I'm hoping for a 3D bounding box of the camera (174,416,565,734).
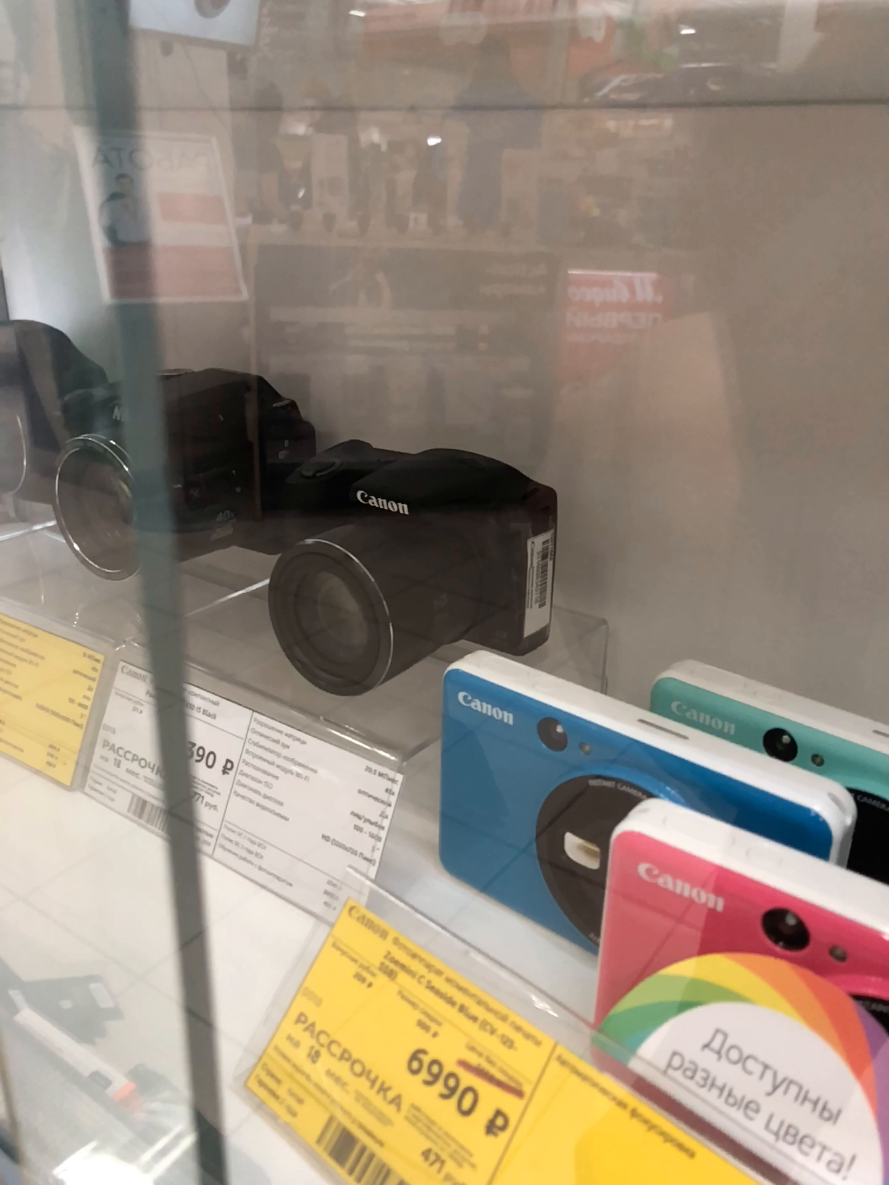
[{"bbox_3d":[-0.025,-0.014,0.356,0.100,0.070,0.093,17,28,34],"label":"camera"}]

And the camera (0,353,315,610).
[{"bbox_3d":[-0.125,-0.054,0.418,0.100,0.073,0.093,17,28,34],"label":"camera"}]

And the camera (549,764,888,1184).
[{"bbox_3d":[0.081,0.096,0.211,0.118,0.073,0.028,19,28,36],"label":"camera"}]

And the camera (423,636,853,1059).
[{"bbox_3d":[0.048,0.067,0.285,0.118,0.073,0.028,19,28,36],"label":"camera"}]
